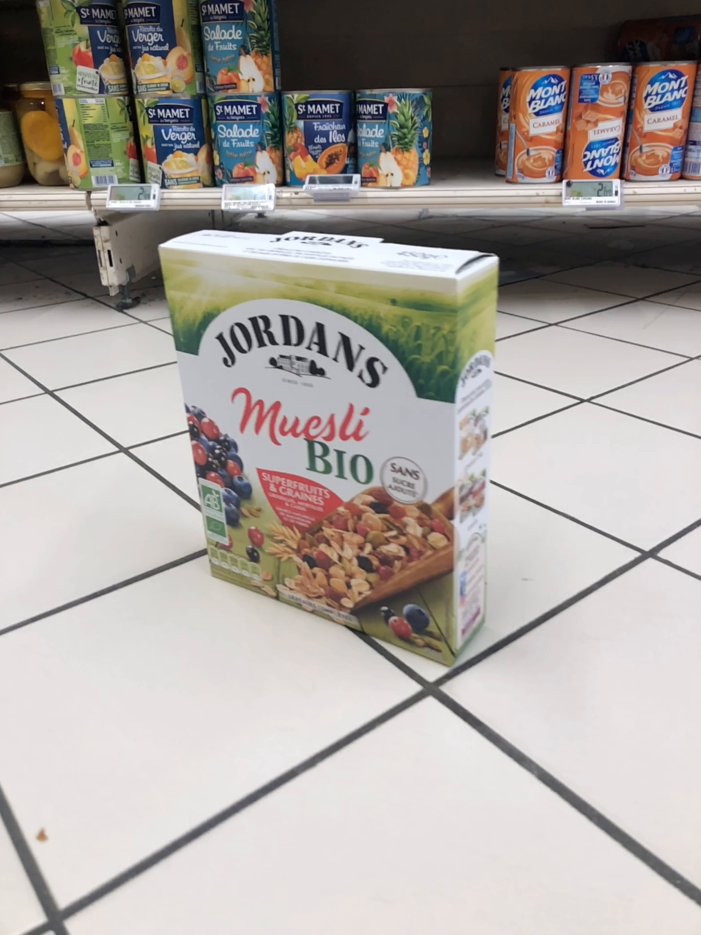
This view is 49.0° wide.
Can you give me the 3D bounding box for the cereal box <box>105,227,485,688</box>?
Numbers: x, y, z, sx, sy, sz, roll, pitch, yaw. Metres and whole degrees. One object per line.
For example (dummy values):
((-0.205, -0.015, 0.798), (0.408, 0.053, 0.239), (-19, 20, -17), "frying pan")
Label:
((-0.028, -0.011, 0.432), (0.190, 0.219, 0.060), (14, 33, 30), "cereal box")
